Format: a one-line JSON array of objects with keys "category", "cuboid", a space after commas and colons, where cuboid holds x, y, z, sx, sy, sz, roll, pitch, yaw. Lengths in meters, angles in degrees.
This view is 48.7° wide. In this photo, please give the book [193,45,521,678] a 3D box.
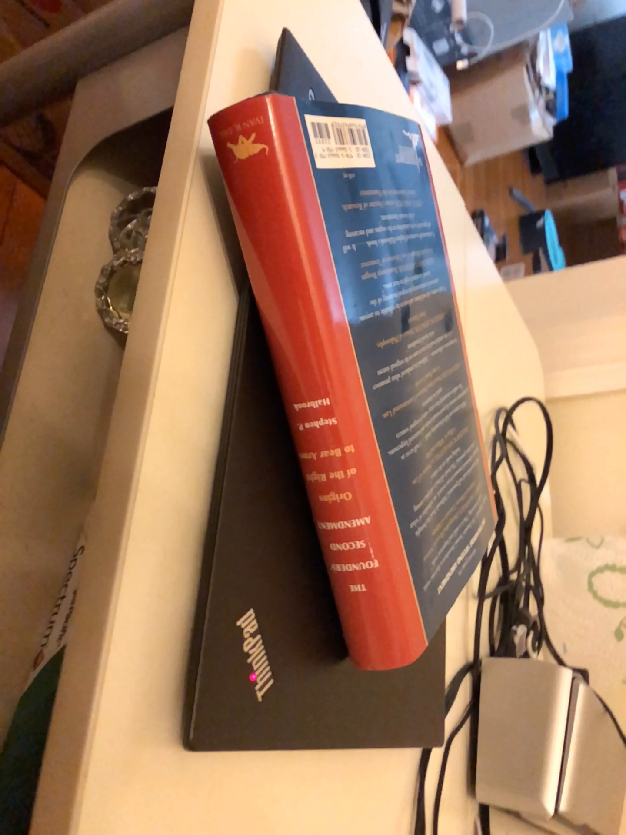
[{"category": "book", "cuboid": [0.041, -0.031, 0.336, 0.171, 0.040, 0.240, -32, 108, -61]}]
